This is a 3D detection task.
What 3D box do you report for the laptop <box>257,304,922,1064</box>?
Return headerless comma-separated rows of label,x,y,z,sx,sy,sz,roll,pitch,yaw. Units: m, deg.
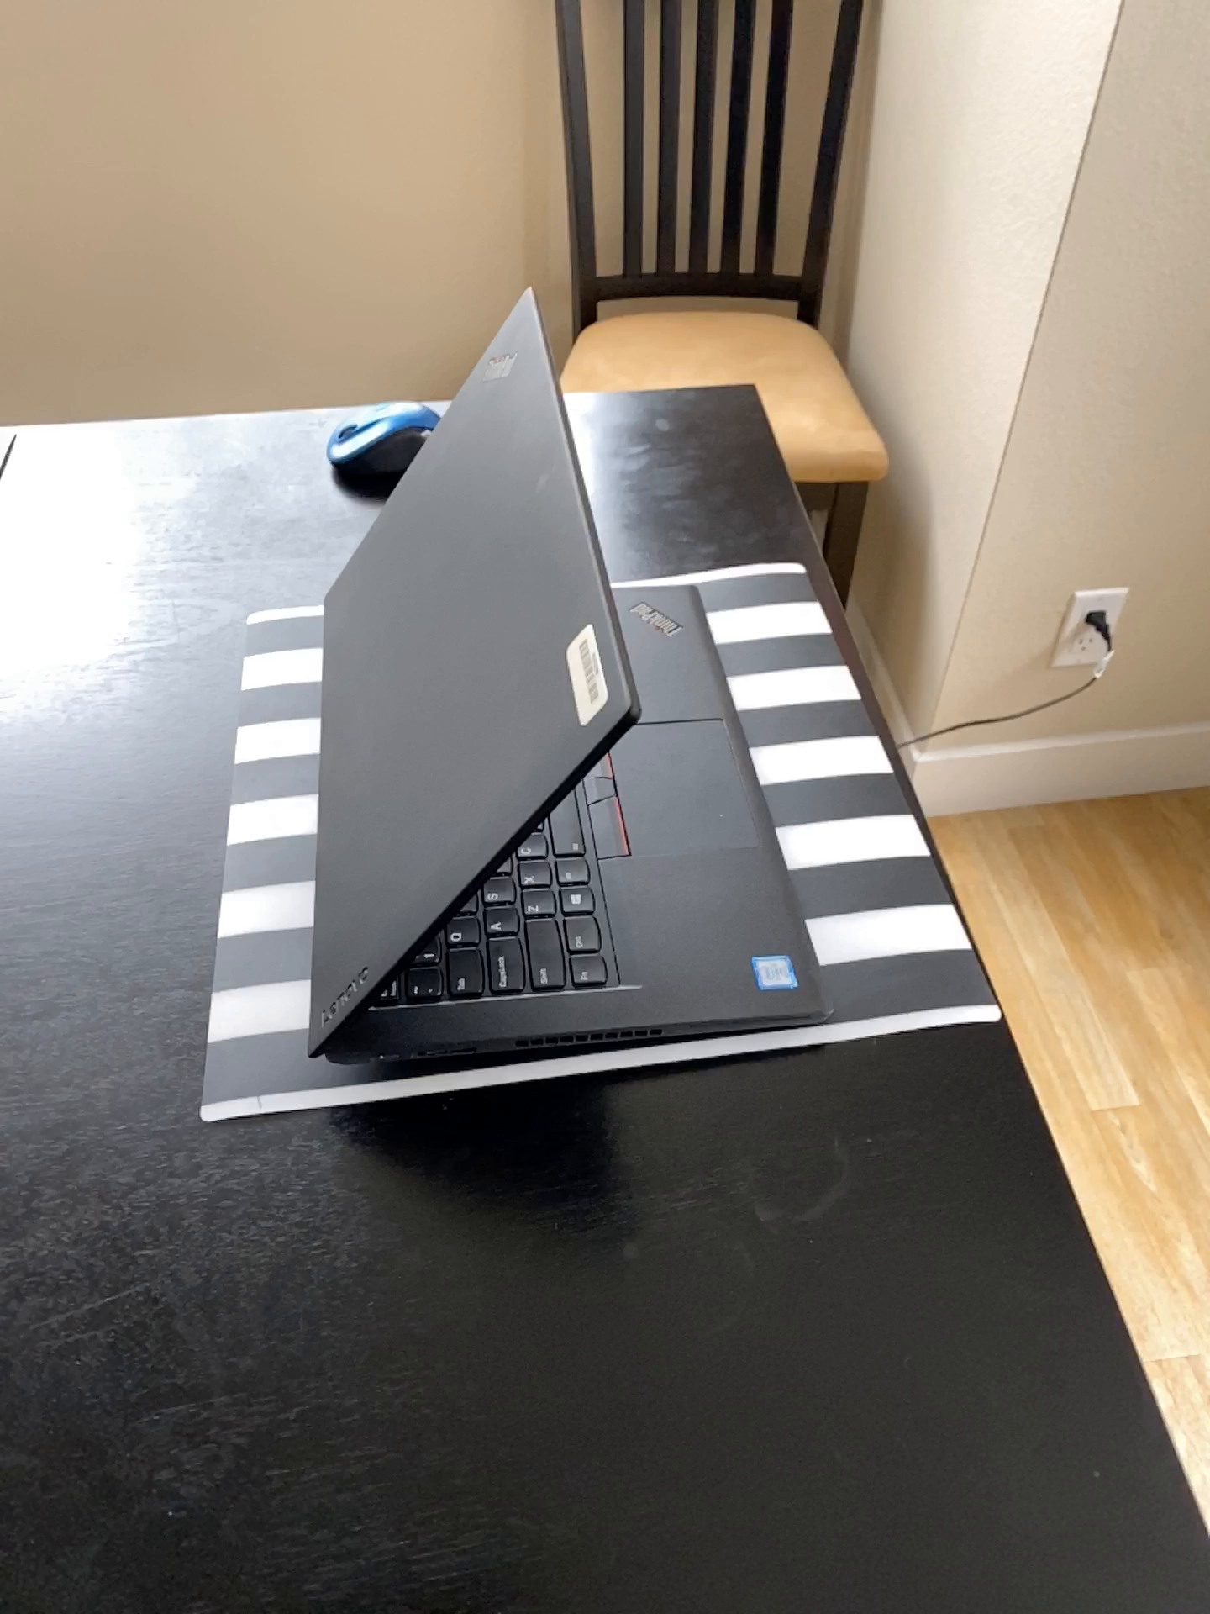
laptop,-0.022,-0.077,0.579,0.220,0.175,0.322,-5,45,-6
